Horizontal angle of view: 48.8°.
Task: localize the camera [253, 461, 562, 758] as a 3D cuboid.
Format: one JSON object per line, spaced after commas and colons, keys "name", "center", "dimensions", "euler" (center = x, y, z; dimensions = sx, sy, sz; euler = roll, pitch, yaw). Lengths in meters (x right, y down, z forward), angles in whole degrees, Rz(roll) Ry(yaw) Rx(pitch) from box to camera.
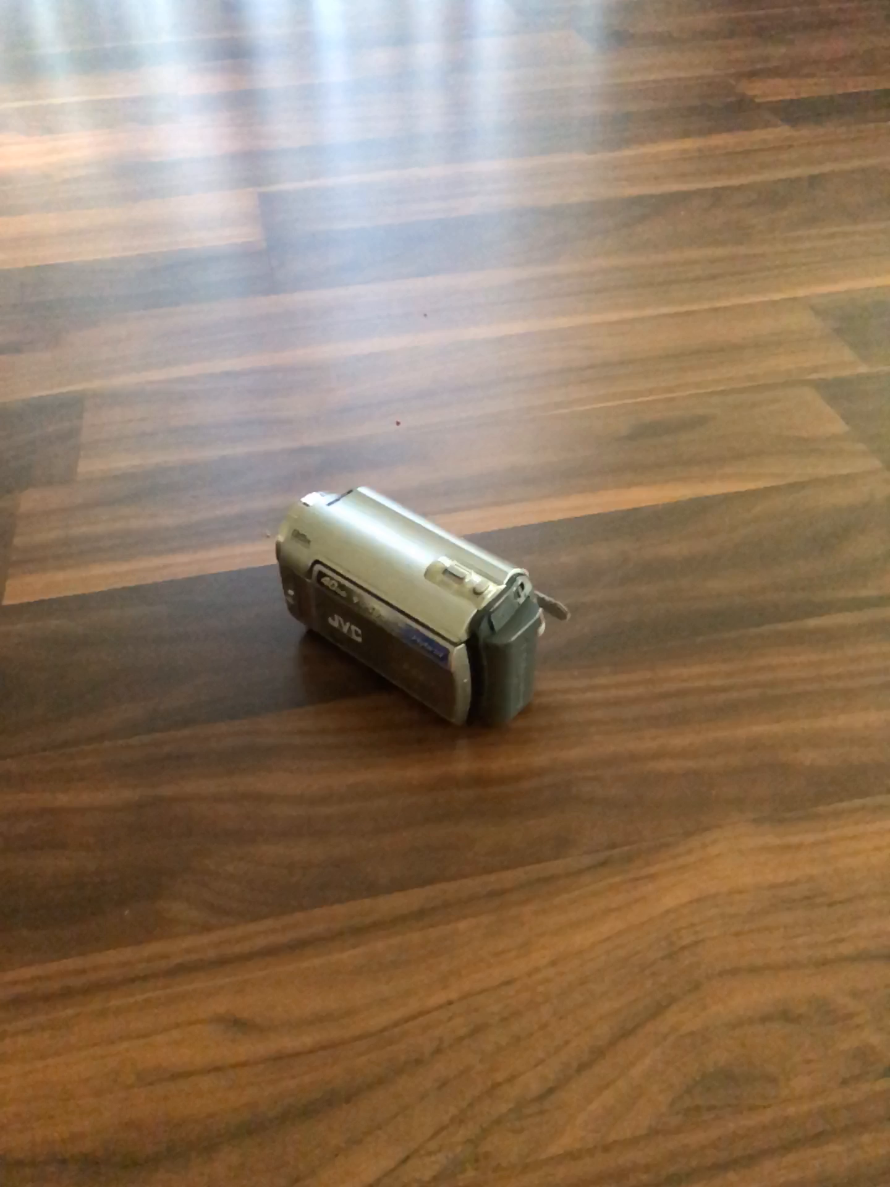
{"name": "camera", "center": [-0.017, 0.003, 0.426], "dimensions": [0.120, 0.060, 0.060], "euler": [31, 52, 31]}
